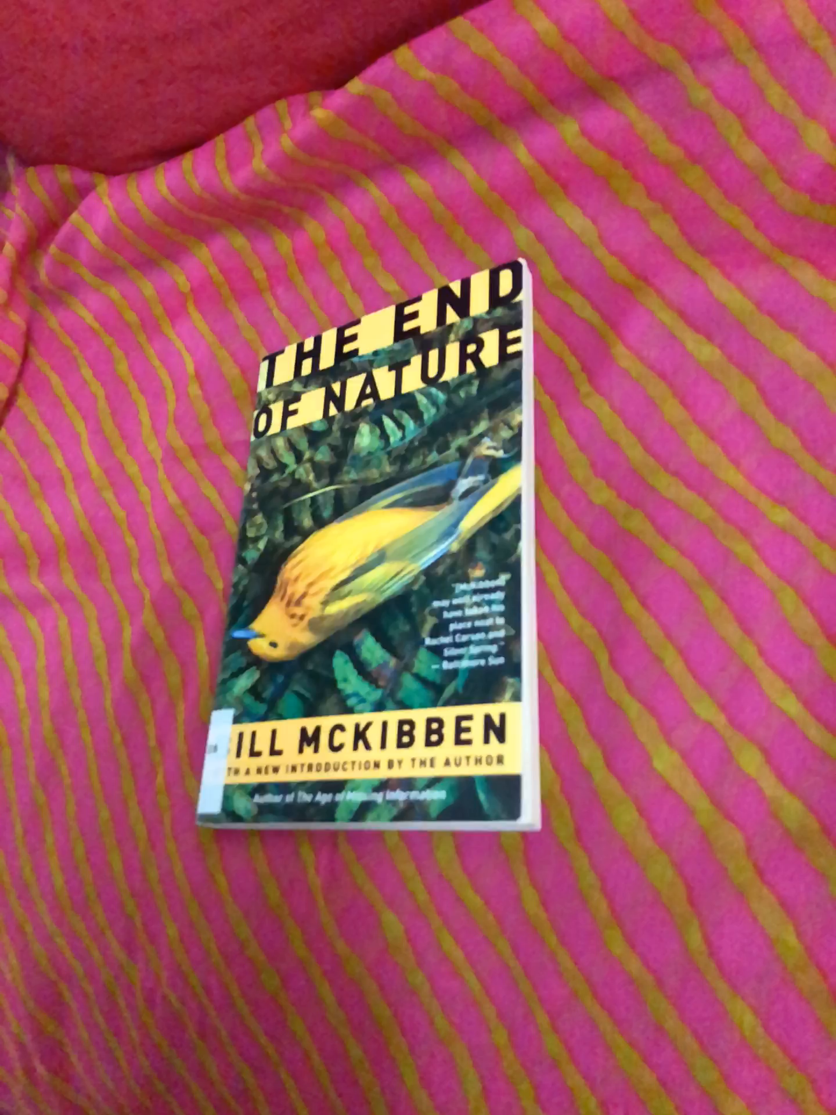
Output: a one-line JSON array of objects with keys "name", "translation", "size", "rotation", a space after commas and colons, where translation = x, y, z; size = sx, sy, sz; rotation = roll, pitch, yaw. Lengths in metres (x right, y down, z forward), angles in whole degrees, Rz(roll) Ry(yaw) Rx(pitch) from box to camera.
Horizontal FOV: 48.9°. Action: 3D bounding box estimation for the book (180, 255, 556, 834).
[{"name": "book", "translation": [-0.017, -0.003, 0.330], "size": [0.132, 0.020, 0.194], "rotation": [-9, 67, 29]}]
